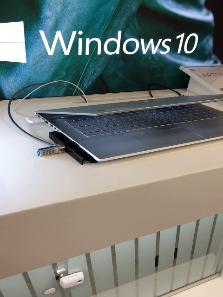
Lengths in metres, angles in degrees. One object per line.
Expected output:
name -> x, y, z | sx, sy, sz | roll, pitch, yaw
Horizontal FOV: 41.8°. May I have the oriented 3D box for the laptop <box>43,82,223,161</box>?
laptop -> 0.104, -0.083, 0.675 | 0.426, 0.069, 0.226 | -10, 31, -28
